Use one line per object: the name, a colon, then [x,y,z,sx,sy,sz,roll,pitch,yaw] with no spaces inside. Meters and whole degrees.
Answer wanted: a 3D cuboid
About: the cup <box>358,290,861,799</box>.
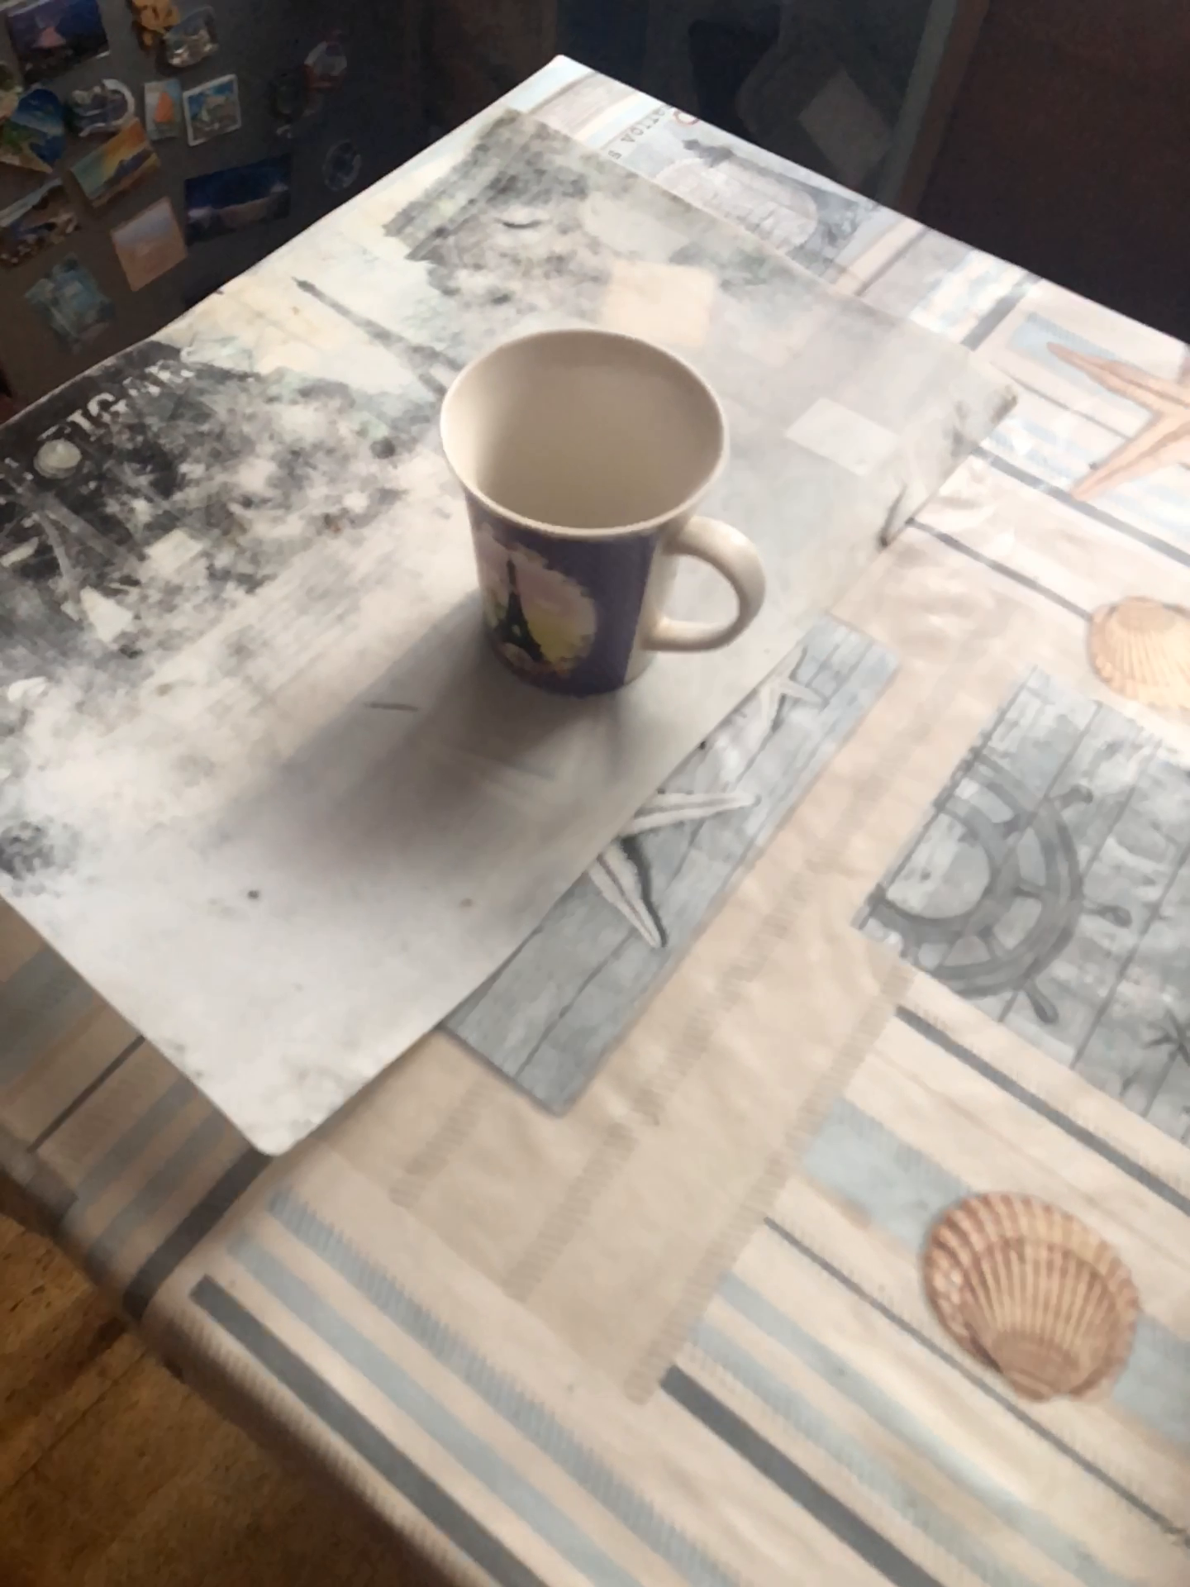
cup: [0.004,-0.080,0.420,0.120,0.085,0.090,27,60,13]
